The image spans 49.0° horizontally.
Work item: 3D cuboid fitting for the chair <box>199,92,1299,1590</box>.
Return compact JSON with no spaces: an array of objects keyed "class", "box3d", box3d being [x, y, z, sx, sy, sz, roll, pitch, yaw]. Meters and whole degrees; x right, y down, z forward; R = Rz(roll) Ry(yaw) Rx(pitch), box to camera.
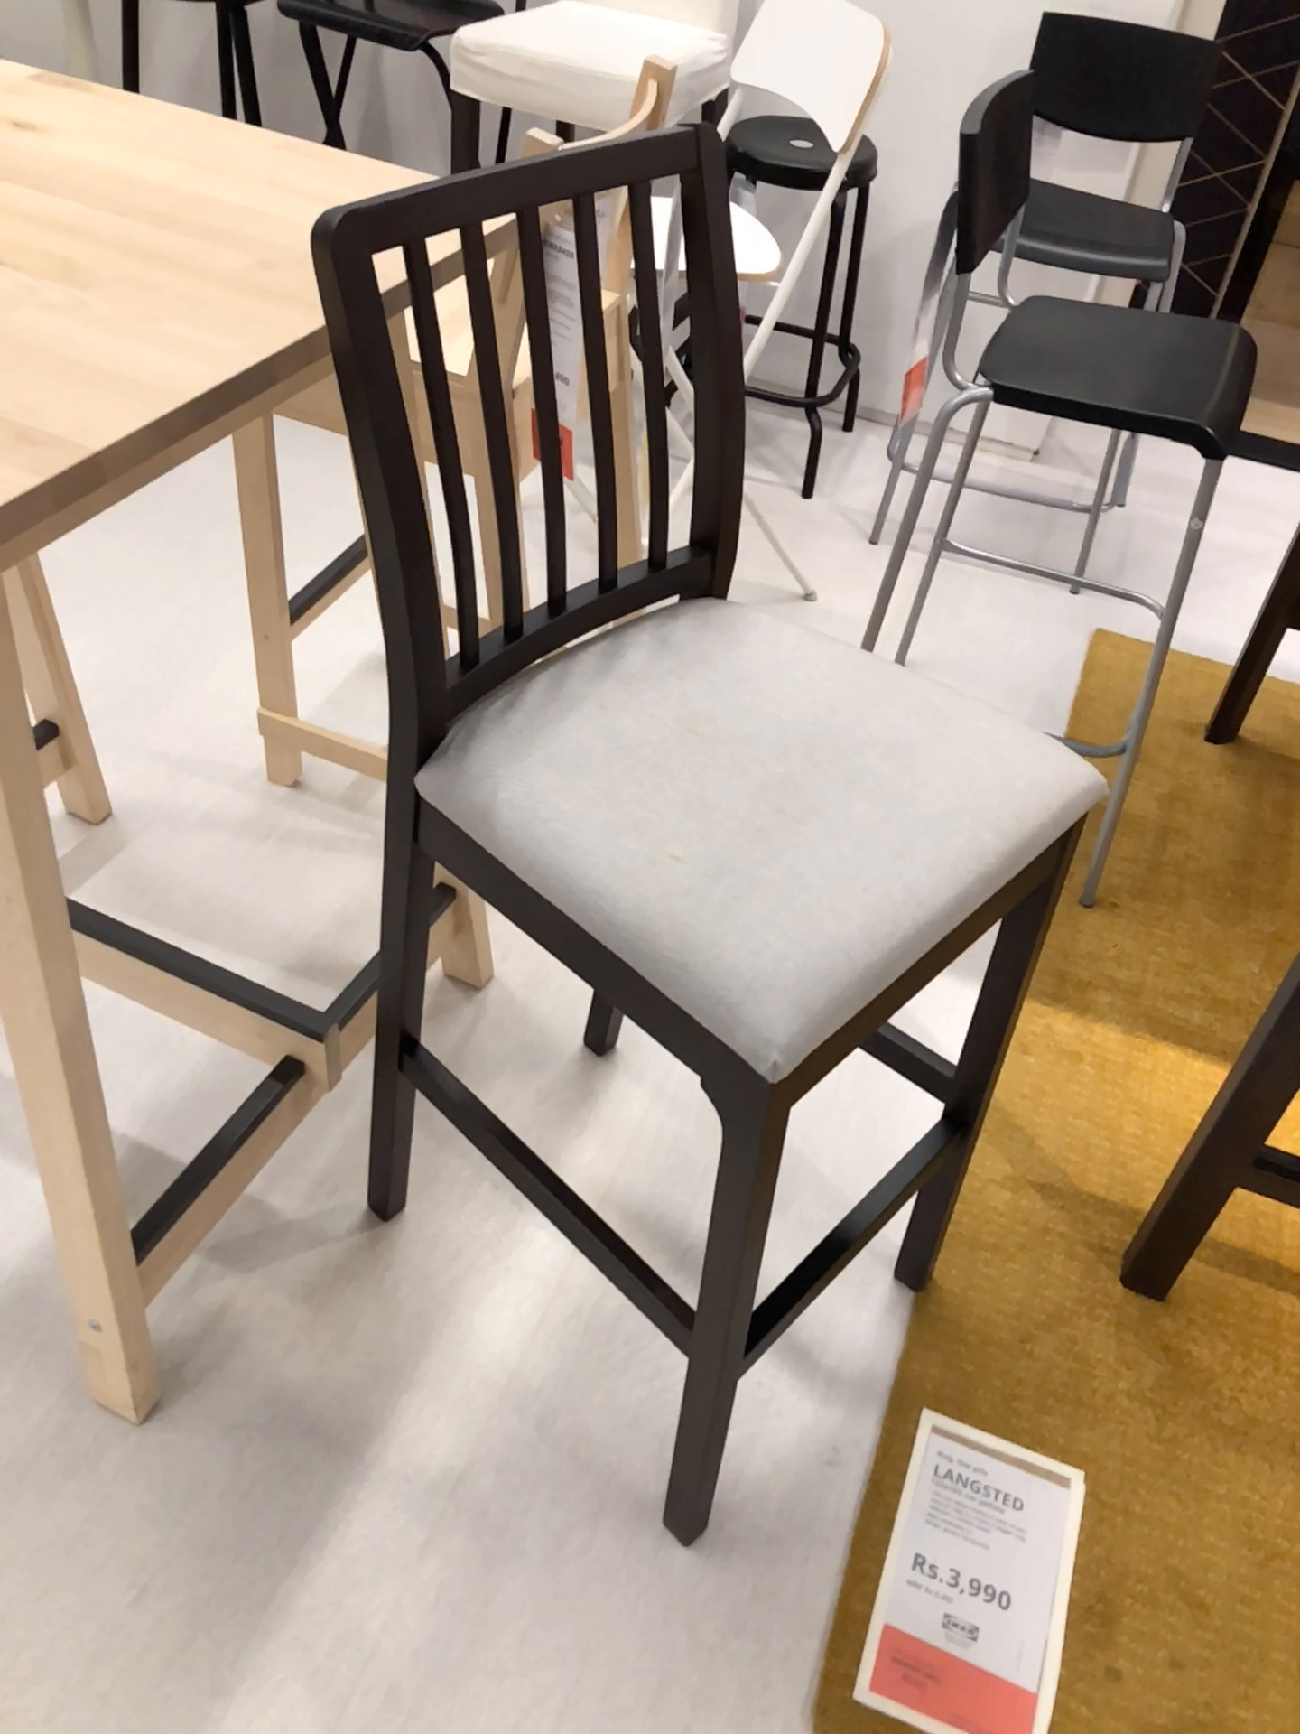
[{"class":"chair","box3d":[0.047,0.033,1.247,0.562,1.093,0.482,34,50,26]}]
